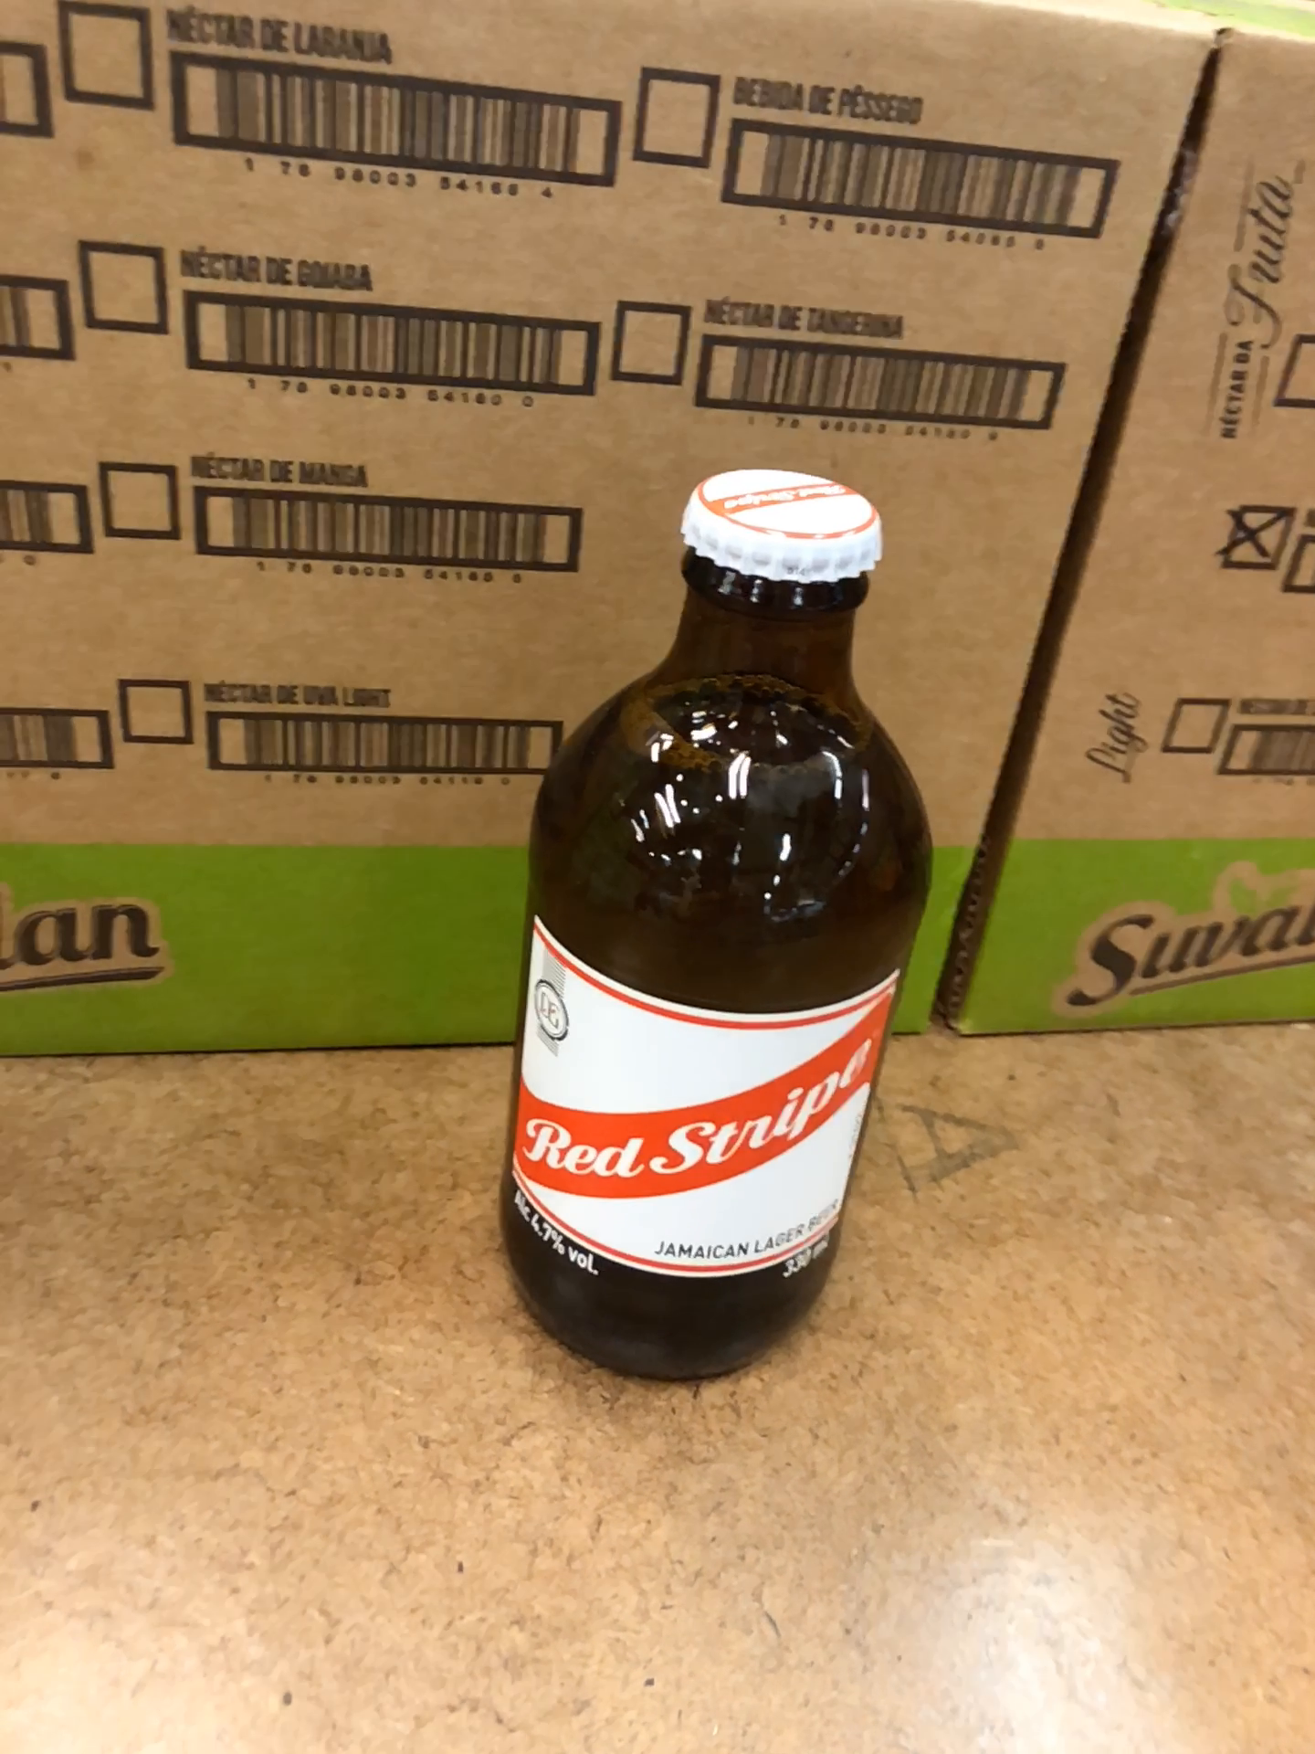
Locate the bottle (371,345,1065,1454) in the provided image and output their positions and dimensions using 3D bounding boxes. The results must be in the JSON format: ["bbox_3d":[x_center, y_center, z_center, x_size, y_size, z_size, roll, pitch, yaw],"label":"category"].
[{"bbox_3d":[0.002,0.008,0.241,0.080,0.159,0.071,9,33,2],"label":"bottle"}]
